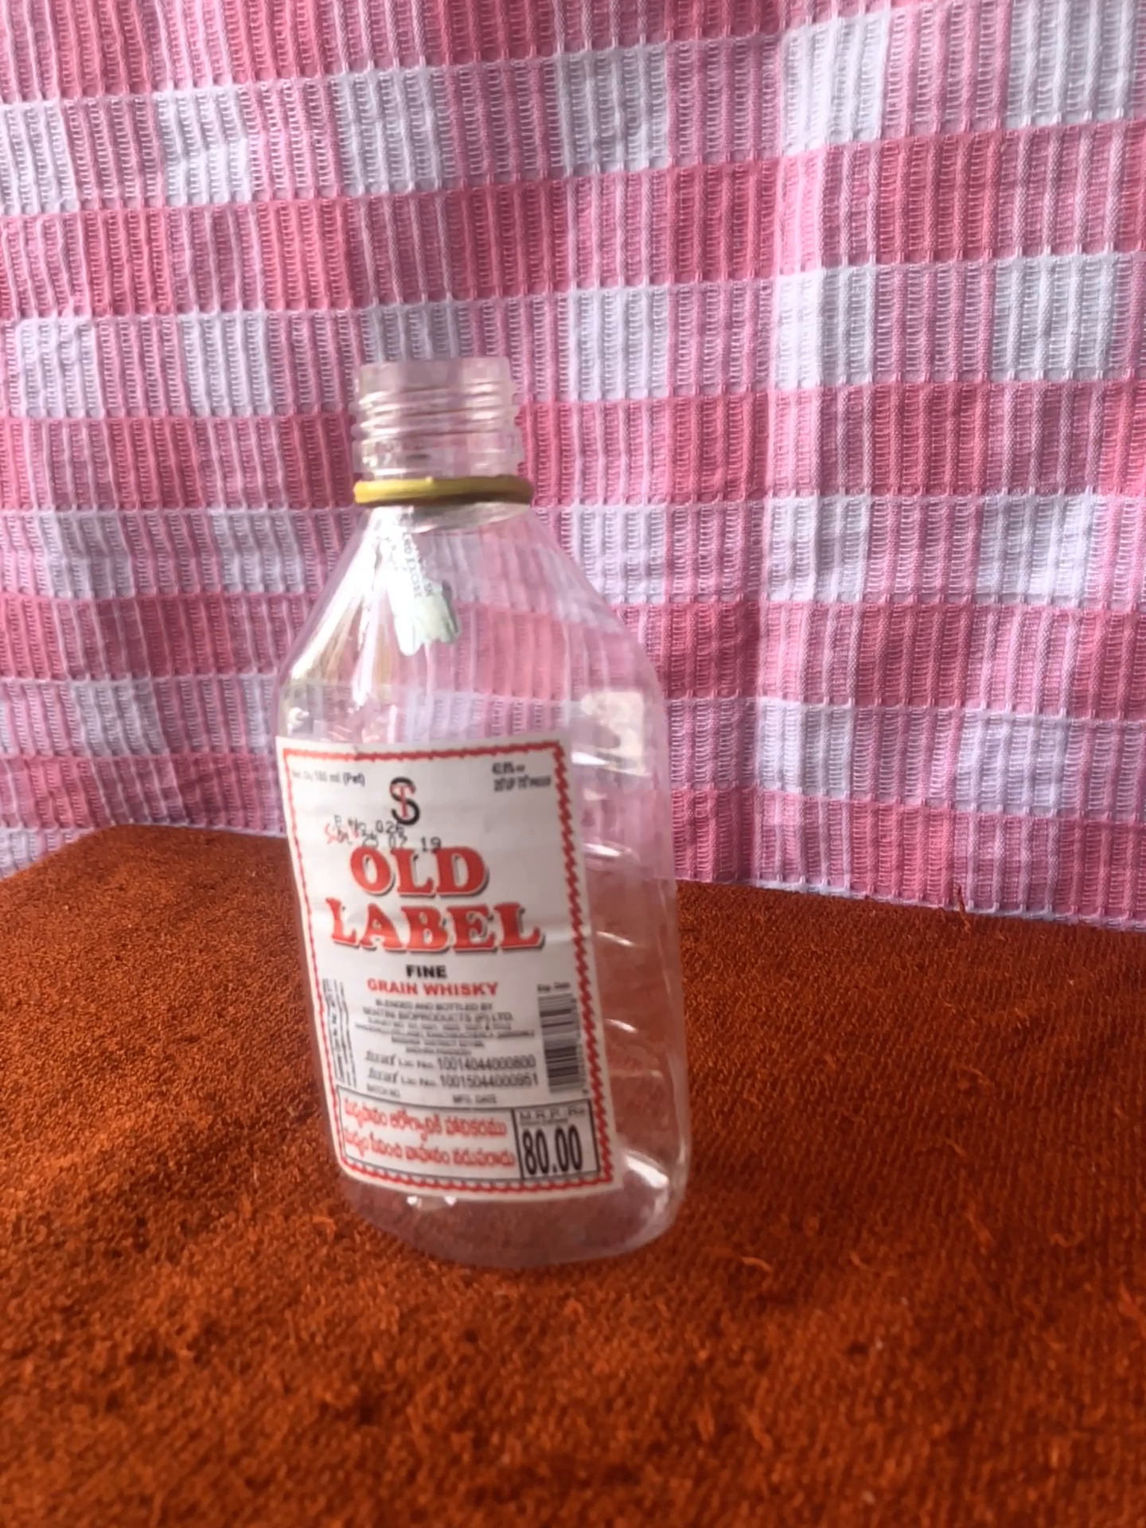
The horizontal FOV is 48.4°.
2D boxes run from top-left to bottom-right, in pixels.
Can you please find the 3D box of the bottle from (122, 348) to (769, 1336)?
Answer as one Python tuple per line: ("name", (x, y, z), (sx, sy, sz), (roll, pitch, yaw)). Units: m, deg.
("bottle", (-0.012, 0.008, 0.193), (0.070, 0.130, 0.050), (3, 18, 23))
